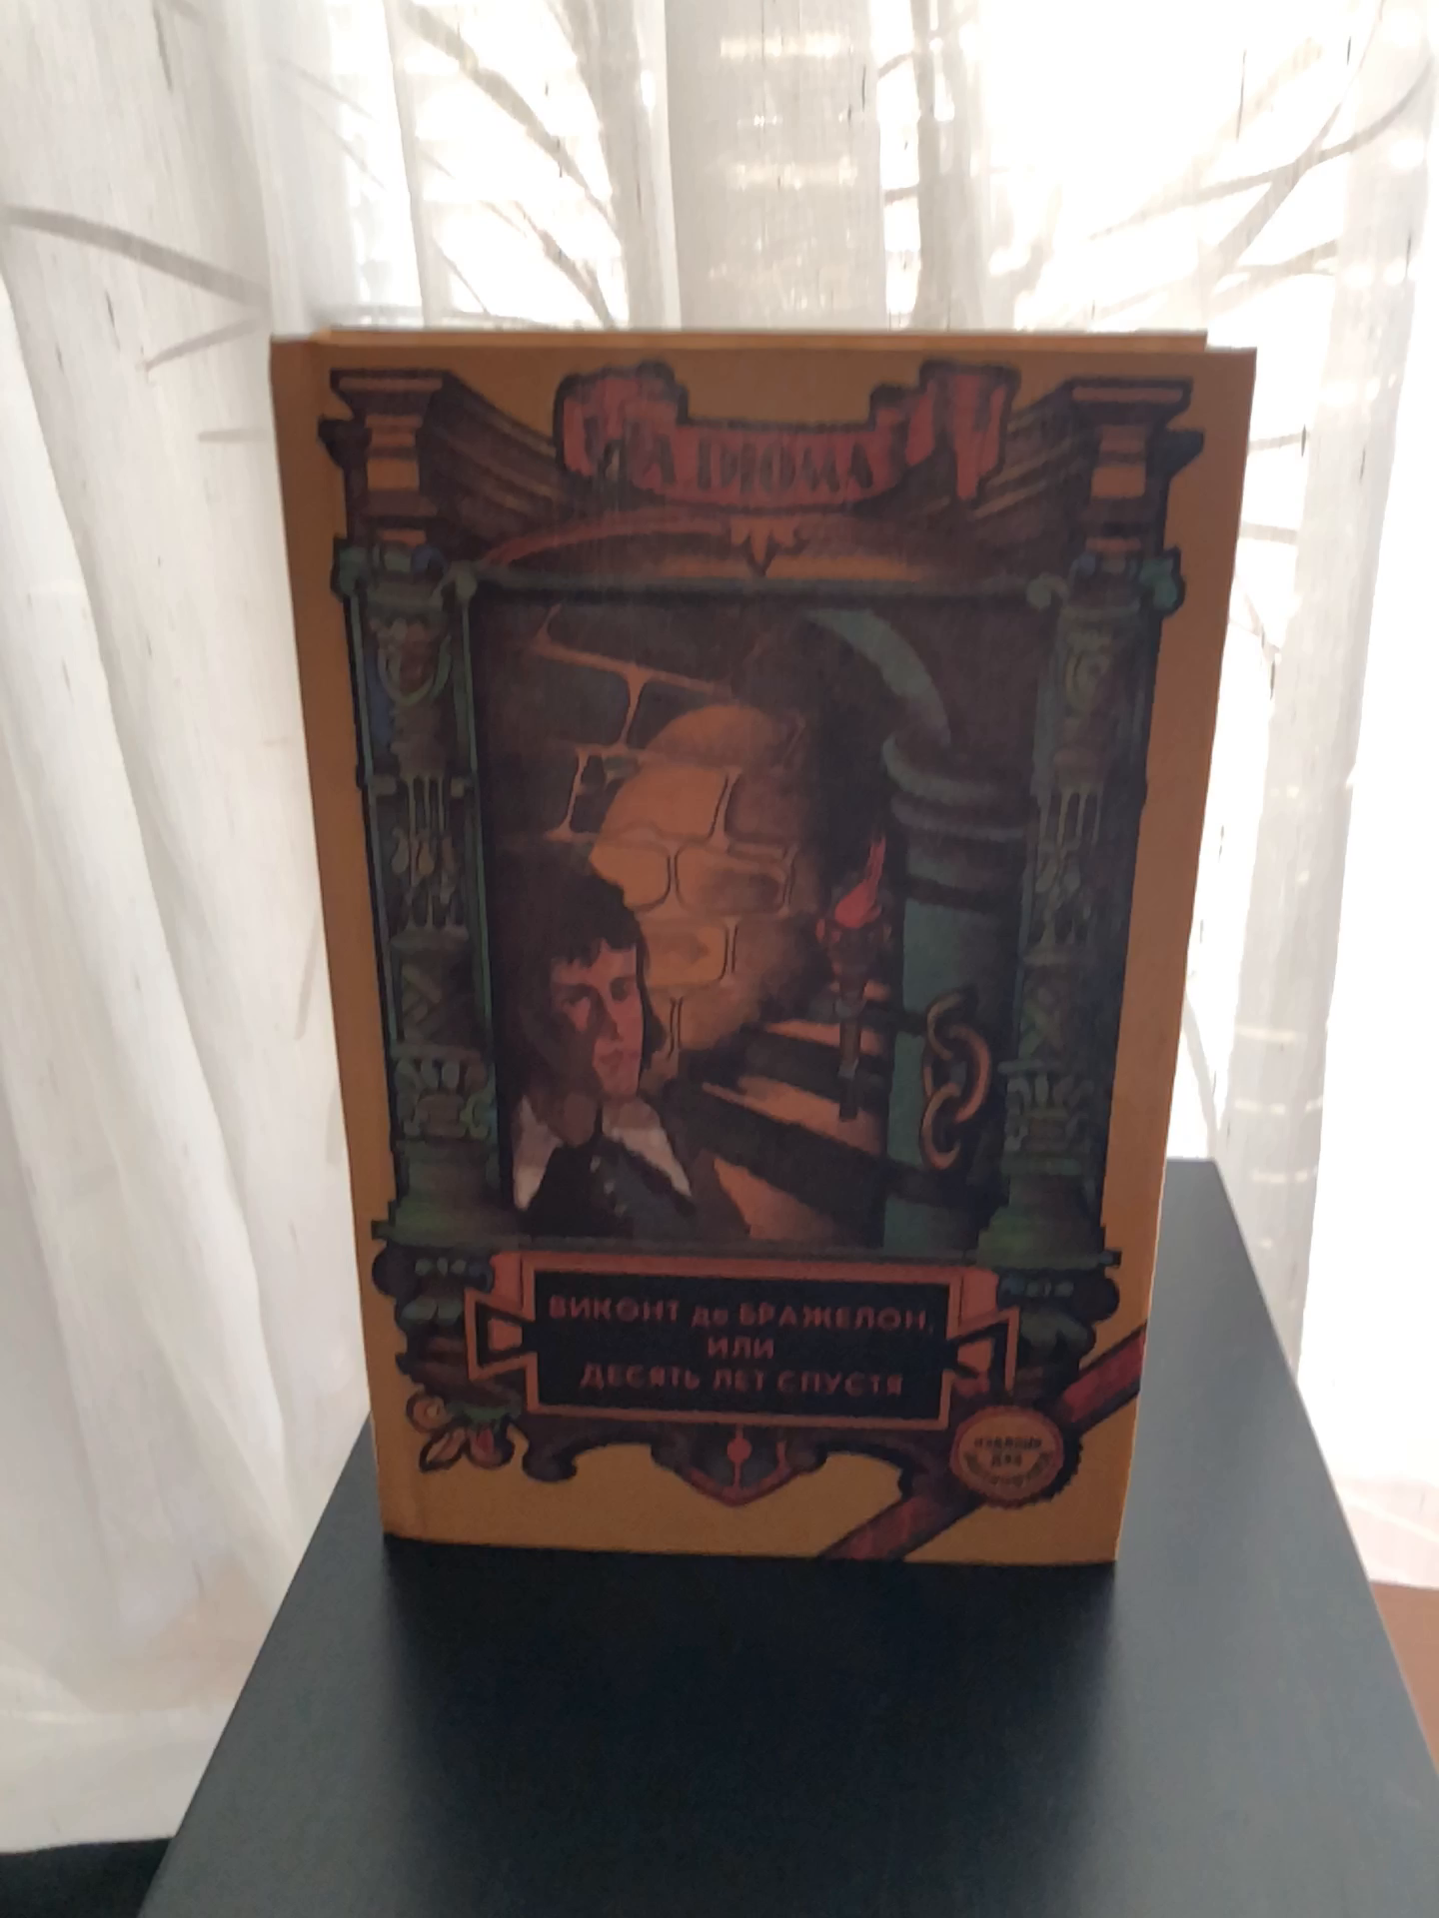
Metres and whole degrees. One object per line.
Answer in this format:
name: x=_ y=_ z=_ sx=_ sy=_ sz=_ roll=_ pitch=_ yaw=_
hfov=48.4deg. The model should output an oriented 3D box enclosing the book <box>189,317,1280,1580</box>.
book: x=0.004 y=0.004 z=0.260 sx=0.141 sy=0.198 sz=0.040 roll=1 pitch=21 yaw=5
